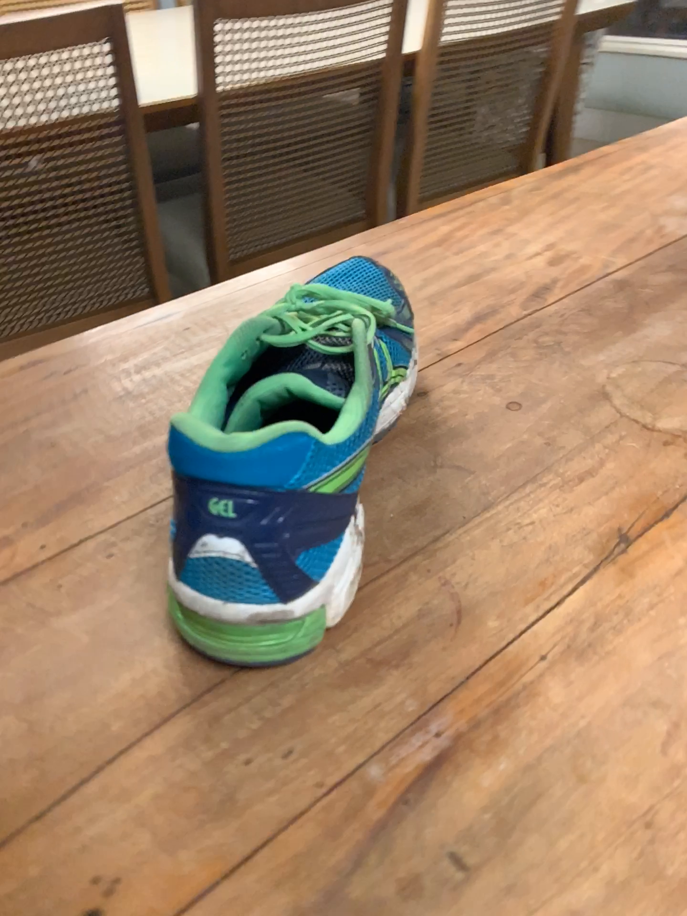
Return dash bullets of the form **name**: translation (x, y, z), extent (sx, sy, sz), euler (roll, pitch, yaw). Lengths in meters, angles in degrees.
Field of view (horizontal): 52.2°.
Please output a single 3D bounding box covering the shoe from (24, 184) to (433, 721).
- **shoe**: translation (-0.024, -0.035, 0.382), extent (0.110, 0.119, 0.302), euler (6, 41, 10)
